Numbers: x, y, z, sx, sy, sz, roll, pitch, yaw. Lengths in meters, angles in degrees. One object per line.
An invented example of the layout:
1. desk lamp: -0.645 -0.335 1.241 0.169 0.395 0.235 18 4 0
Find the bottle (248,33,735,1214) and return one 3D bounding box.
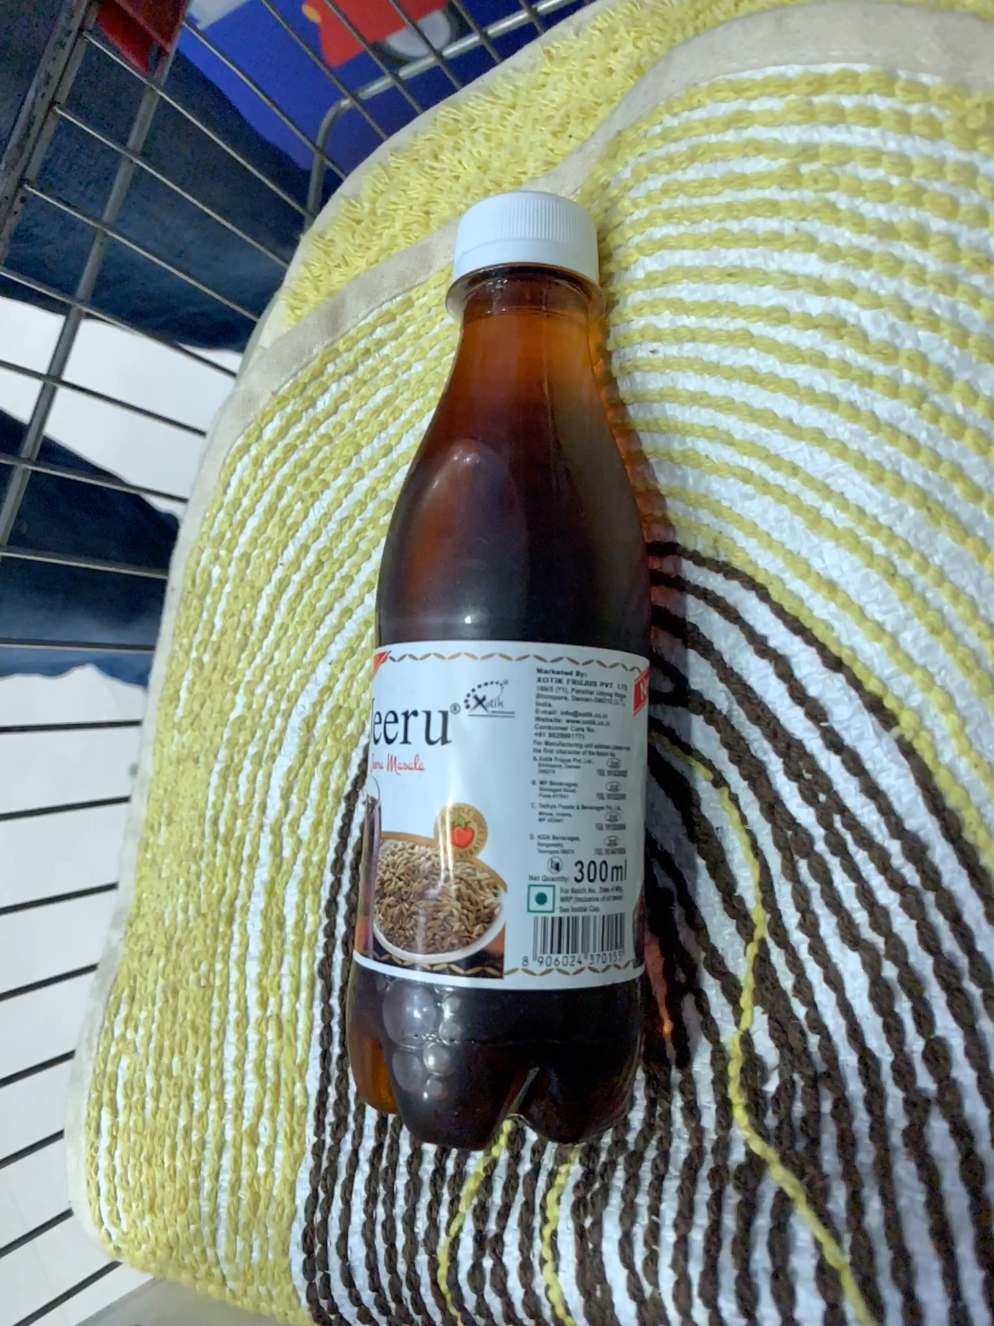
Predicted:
1. bottle: 0.001 -0.007 0.198 0.060 0.060 0.180 -2 82 43
